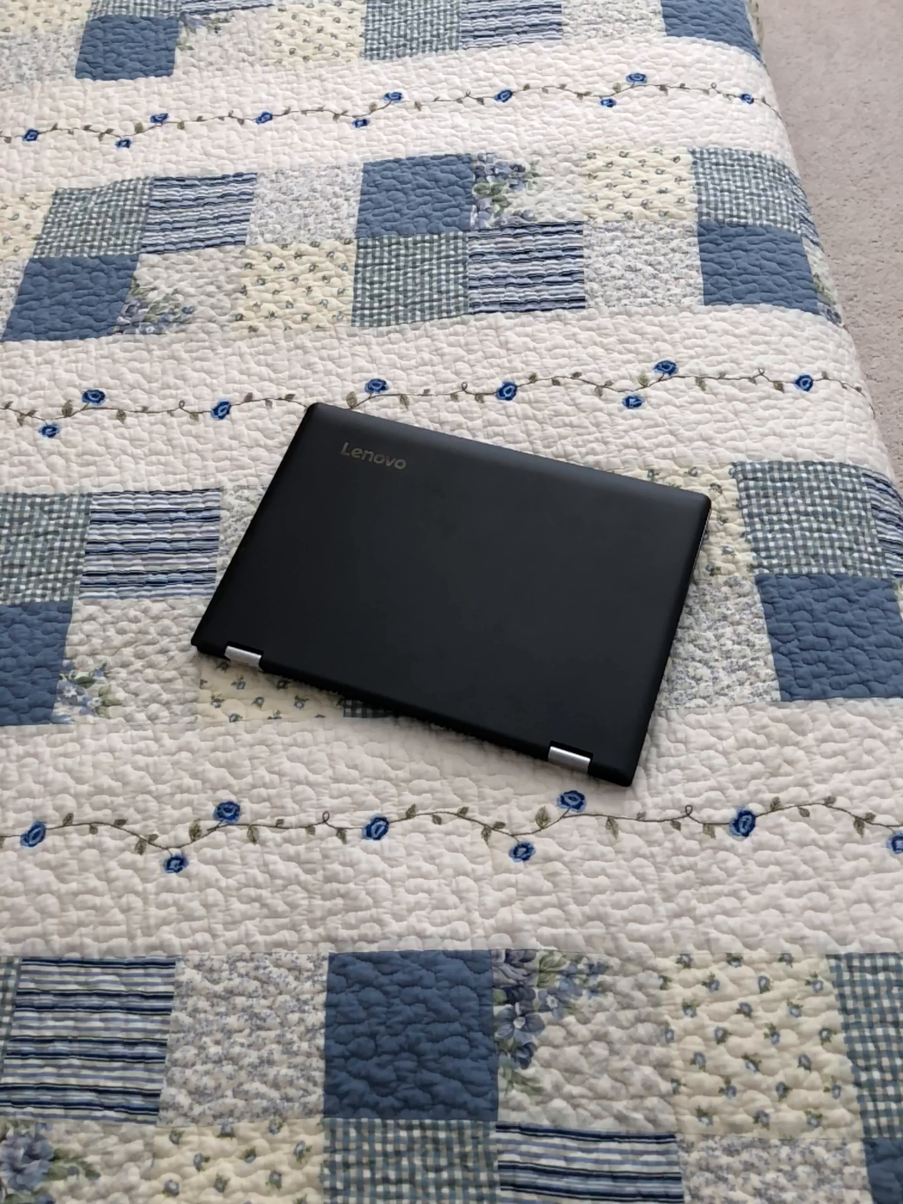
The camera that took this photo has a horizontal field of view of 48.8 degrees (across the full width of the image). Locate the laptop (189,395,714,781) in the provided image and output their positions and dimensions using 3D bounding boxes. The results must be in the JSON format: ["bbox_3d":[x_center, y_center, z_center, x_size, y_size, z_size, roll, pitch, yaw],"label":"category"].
[{"bbox_3d":[0.002,-0.025,0.715,0.320,0.008,0.224,15,67,14],"label":"laptop"}]
